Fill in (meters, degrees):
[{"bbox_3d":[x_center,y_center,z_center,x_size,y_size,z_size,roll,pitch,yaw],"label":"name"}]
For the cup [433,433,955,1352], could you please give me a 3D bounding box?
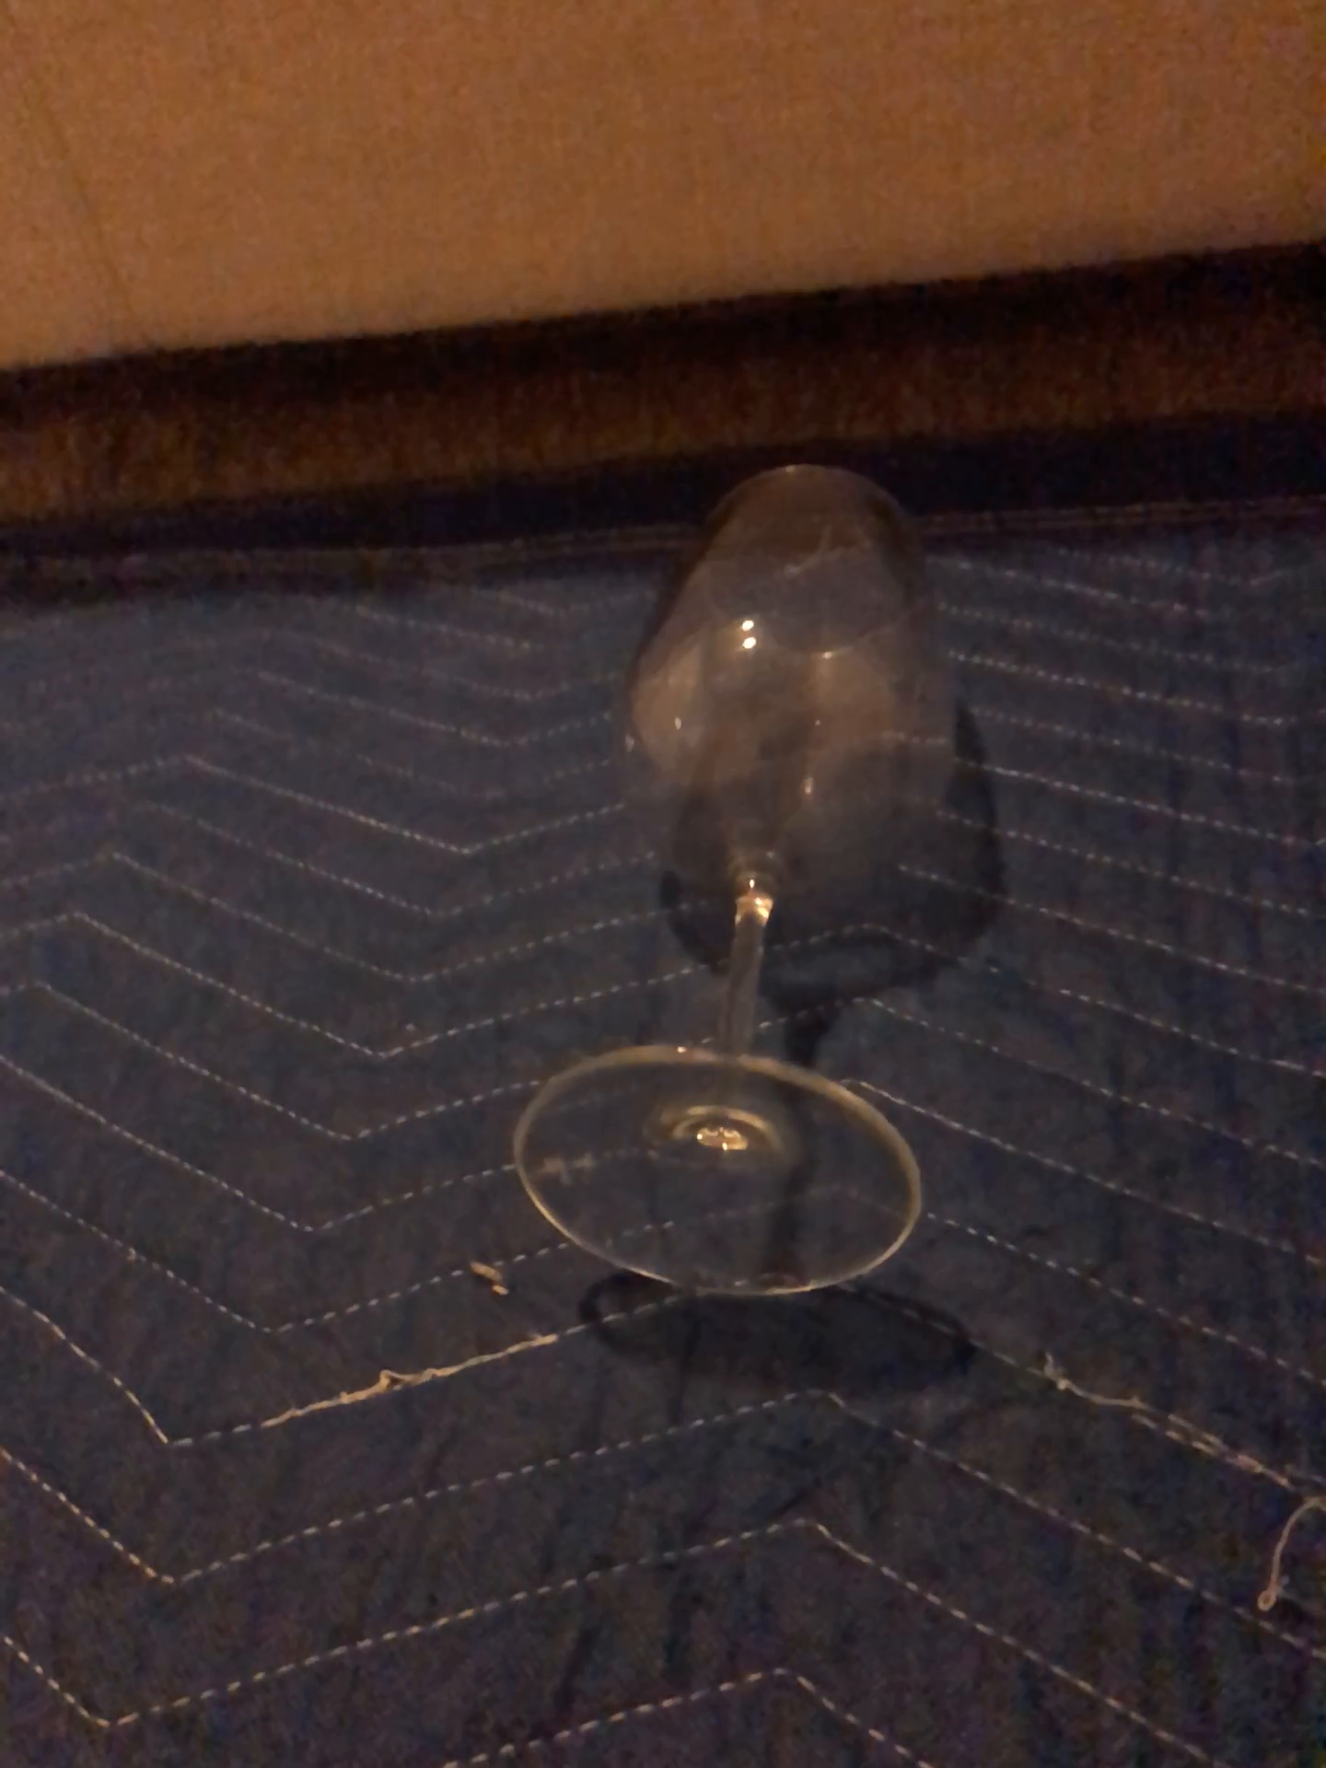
[{"bbox_3d":[0.024,-0.012,0.346,0.080,0.089,0.211,0,43,13],"label":"cup"}]
